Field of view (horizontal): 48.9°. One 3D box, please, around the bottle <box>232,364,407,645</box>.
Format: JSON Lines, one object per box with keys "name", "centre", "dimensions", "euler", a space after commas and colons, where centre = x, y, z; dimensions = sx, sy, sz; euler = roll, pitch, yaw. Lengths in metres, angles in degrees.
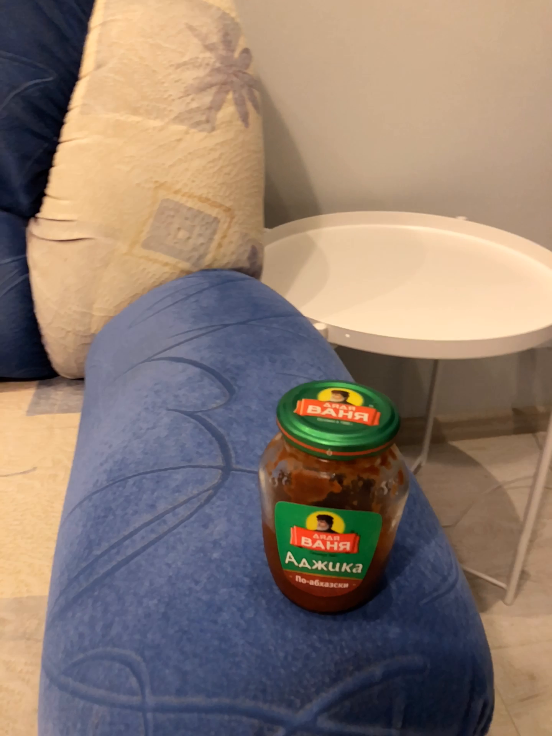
{"name": "bottle", "centre": [0.019, 0.056, 0.262], "dimensions": [0.060, 0.092, 0.060], "euler": [1, 27, -1]}
